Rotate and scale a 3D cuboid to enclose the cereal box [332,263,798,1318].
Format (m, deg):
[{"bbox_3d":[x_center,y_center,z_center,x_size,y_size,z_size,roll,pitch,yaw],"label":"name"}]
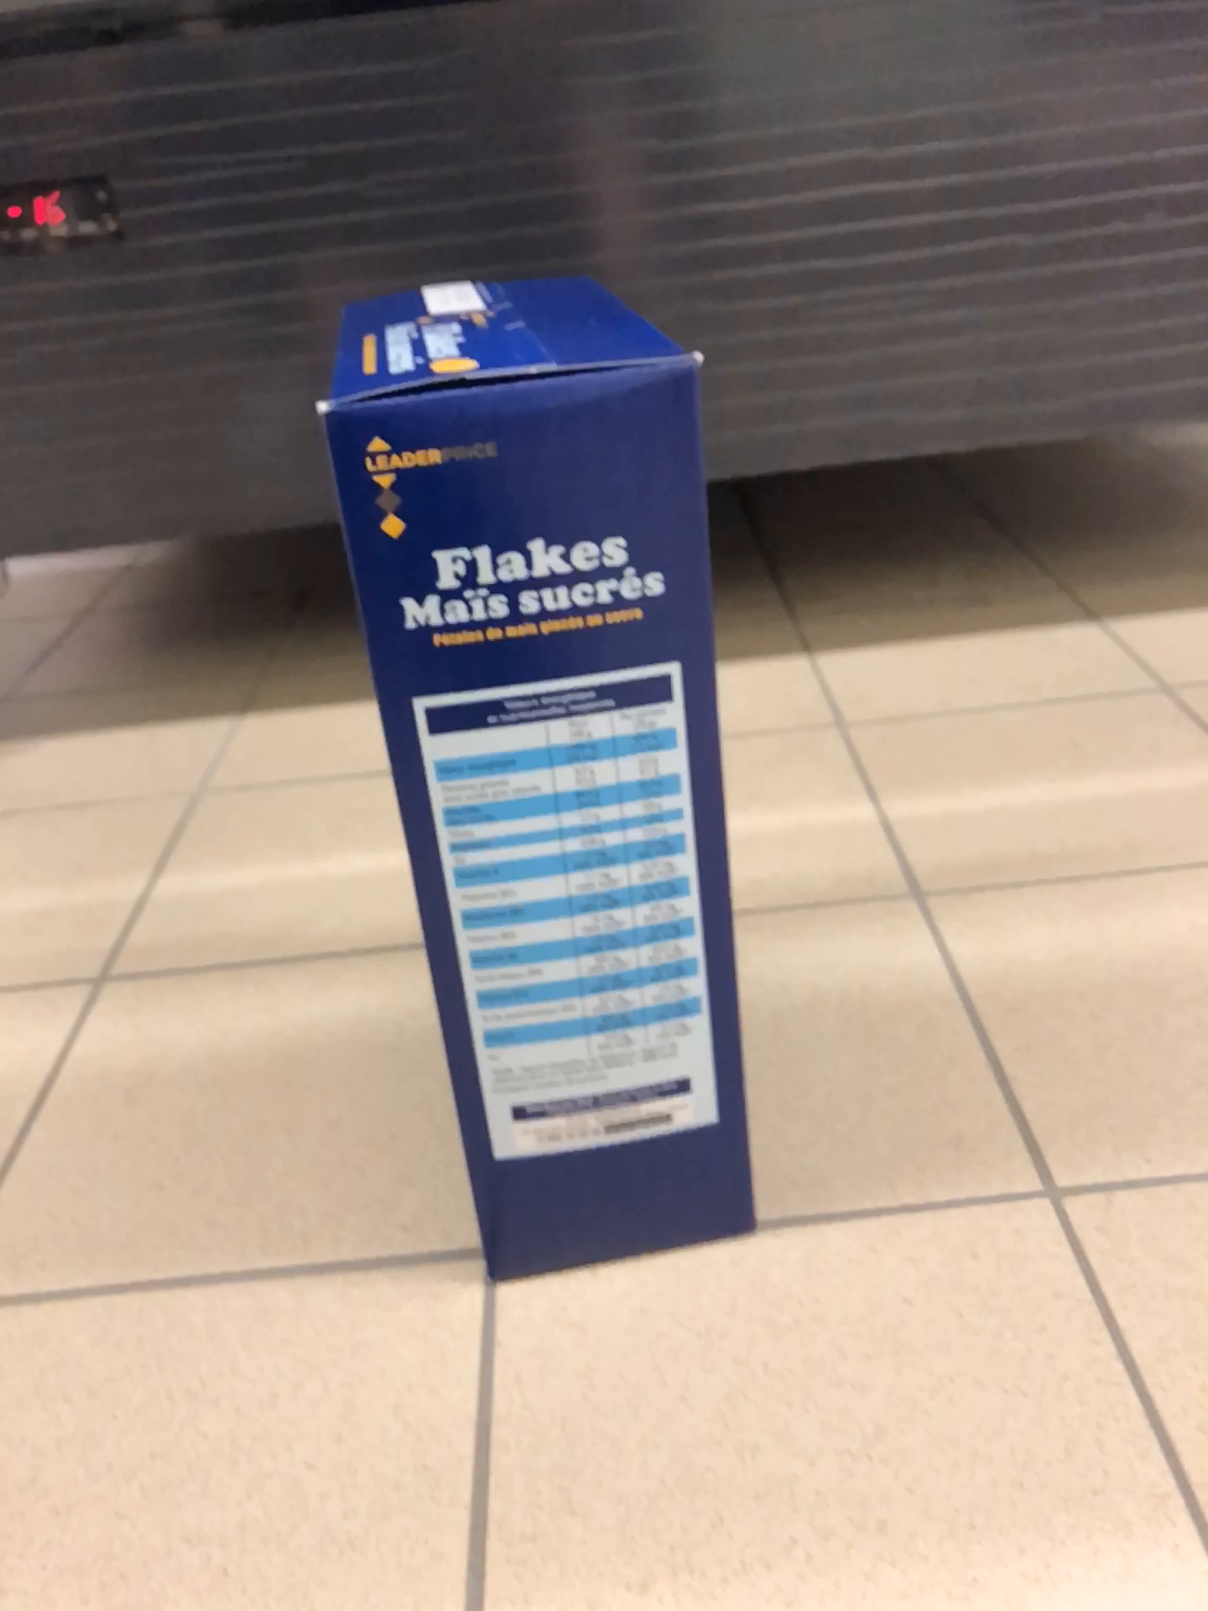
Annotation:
[{"bbox_3d":[-0.011,-0.017,0.484,0.100,0.308,0.211,-8,26,-3],"label":"cereal box"}]
